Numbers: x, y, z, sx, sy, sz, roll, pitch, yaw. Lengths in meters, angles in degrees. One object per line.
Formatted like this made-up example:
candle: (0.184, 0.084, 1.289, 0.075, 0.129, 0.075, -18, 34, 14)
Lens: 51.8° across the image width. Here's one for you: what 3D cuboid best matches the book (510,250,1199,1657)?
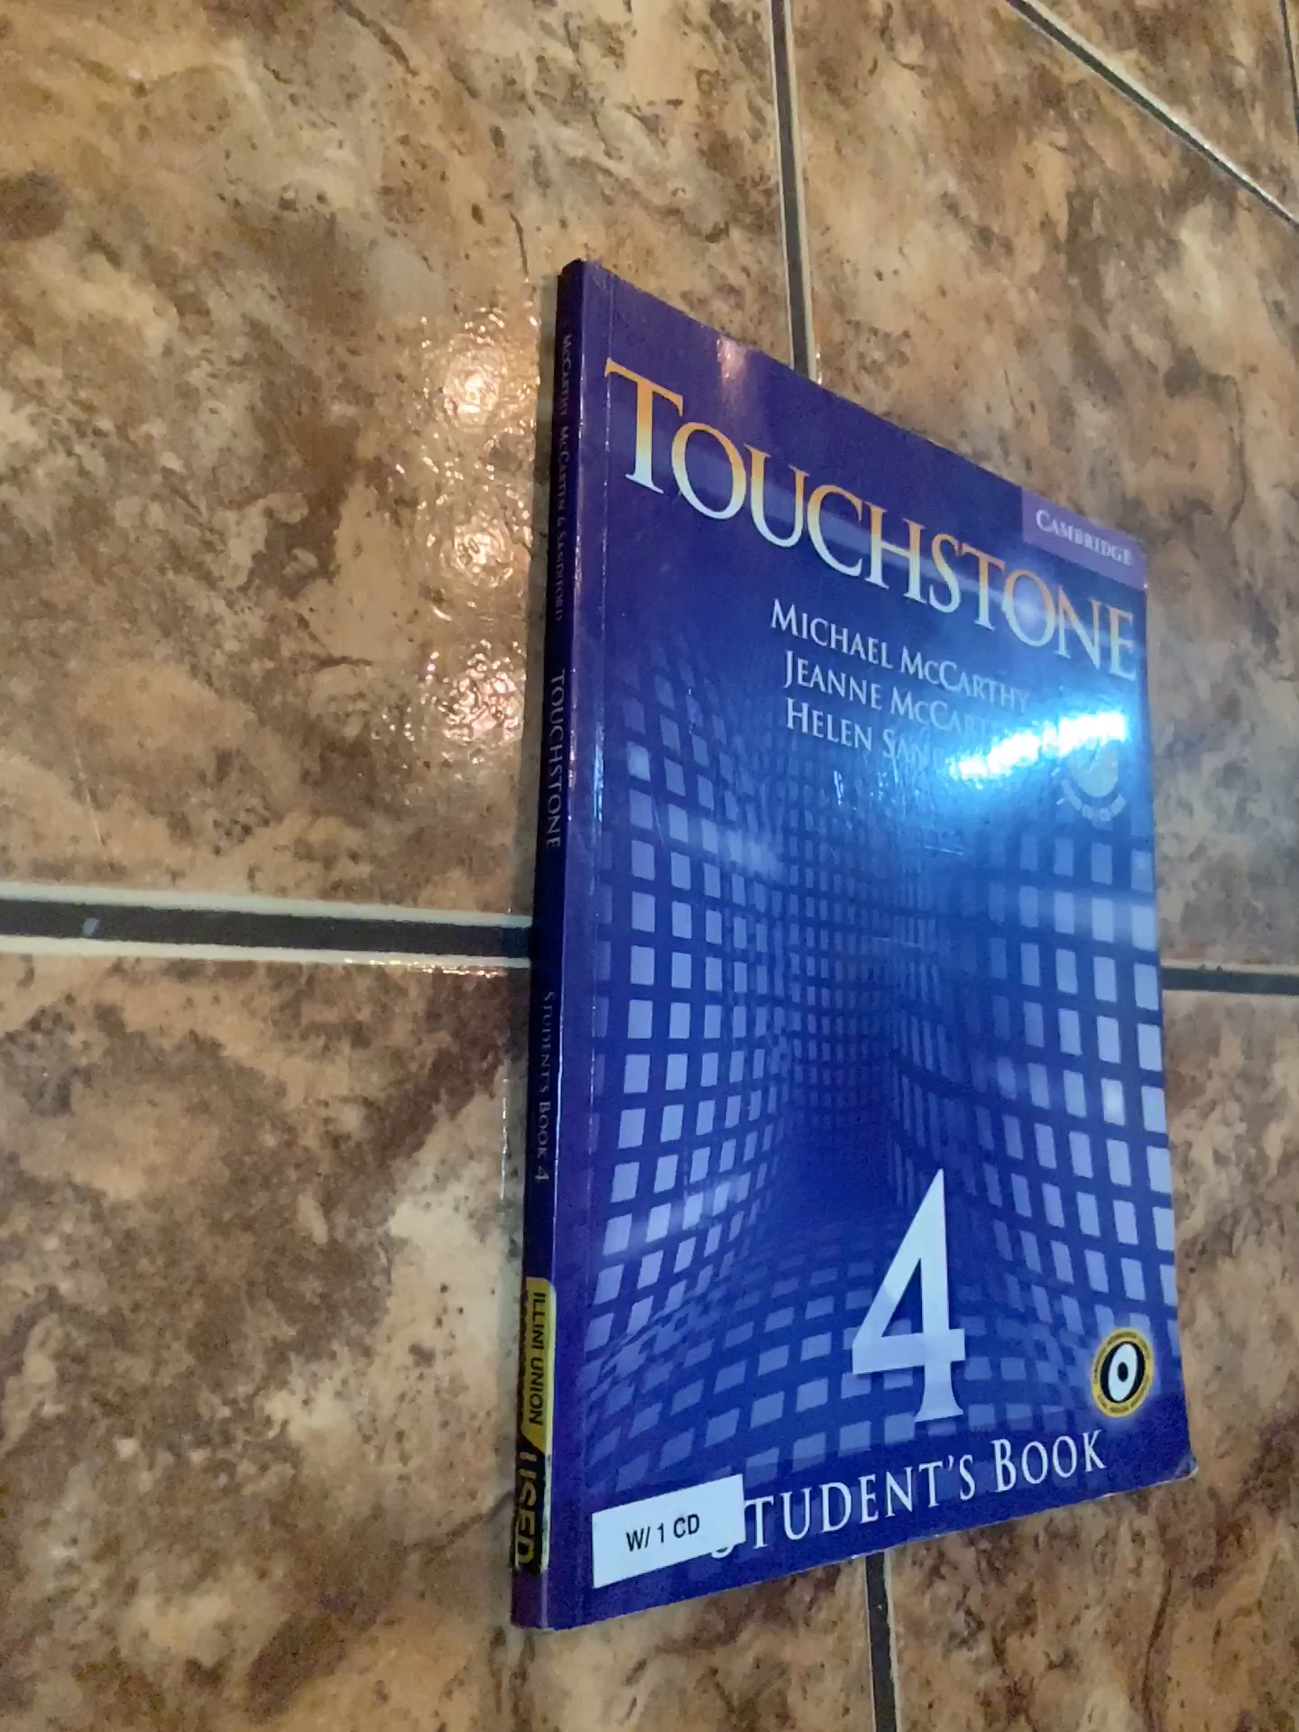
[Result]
book: (0.065, 0.018, 0.331, 0.220, 0.010, 0.275, 10, 75, -38)
